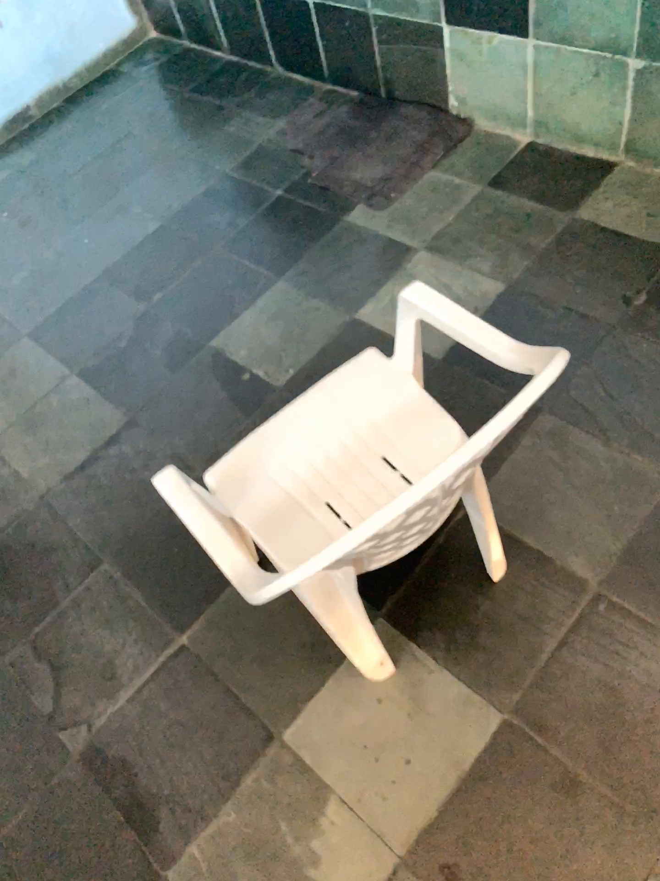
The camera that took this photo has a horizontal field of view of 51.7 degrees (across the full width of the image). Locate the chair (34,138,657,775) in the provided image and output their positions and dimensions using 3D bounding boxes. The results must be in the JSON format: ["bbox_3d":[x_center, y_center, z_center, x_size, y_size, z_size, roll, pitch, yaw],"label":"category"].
[{"bbox_3d":[0.054,0.053,1.133,0.540,0.717,0.592,-40,55,-13],"label":"chair"}]
